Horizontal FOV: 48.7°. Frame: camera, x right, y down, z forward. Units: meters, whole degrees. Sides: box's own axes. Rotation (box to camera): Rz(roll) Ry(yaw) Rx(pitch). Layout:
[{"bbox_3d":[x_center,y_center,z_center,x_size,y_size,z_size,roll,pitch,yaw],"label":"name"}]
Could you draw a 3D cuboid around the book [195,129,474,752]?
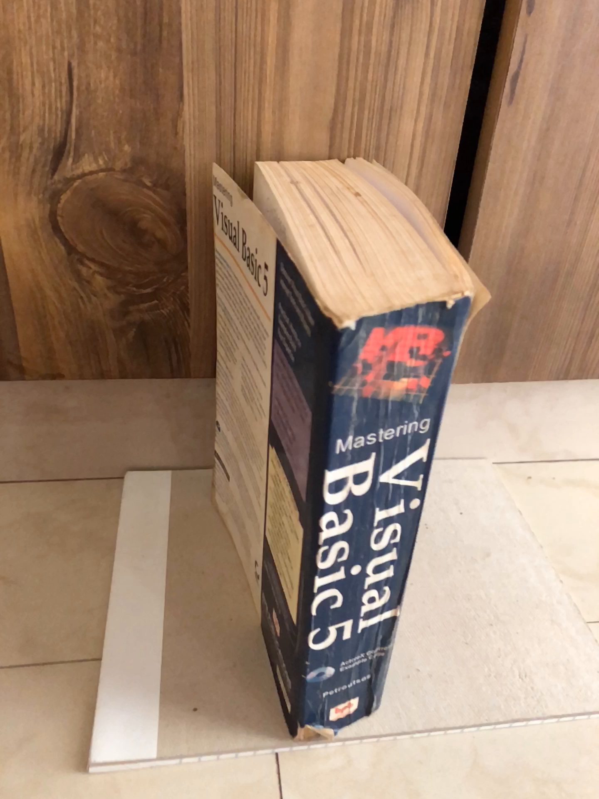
[{"bbox_3d":[-0.004,0.011,0.353,0.060,0.249,0.211,-7,34,-13],"label":"book"}]
